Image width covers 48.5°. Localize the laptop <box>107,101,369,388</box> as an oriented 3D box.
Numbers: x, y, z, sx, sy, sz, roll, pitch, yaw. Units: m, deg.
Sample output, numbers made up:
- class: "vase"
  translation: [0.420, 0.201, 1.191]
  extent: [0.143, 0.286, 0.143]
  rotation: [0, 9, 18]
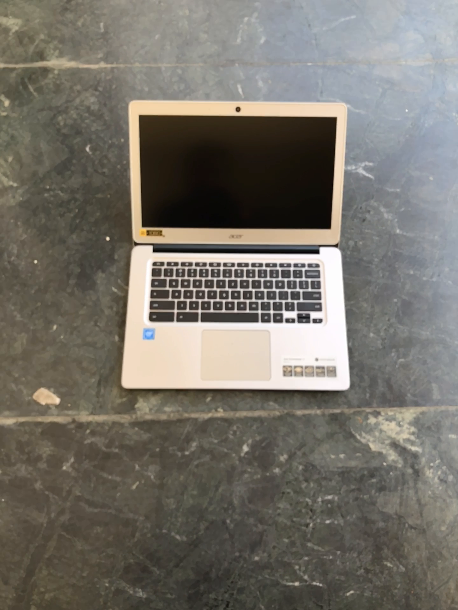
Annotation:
- class: "laptop"
  translation: [0.013, -0.096, 0.779]
  extent: [0.338, 0.117, 0.424]
  rotation: [1, 71, 0]
